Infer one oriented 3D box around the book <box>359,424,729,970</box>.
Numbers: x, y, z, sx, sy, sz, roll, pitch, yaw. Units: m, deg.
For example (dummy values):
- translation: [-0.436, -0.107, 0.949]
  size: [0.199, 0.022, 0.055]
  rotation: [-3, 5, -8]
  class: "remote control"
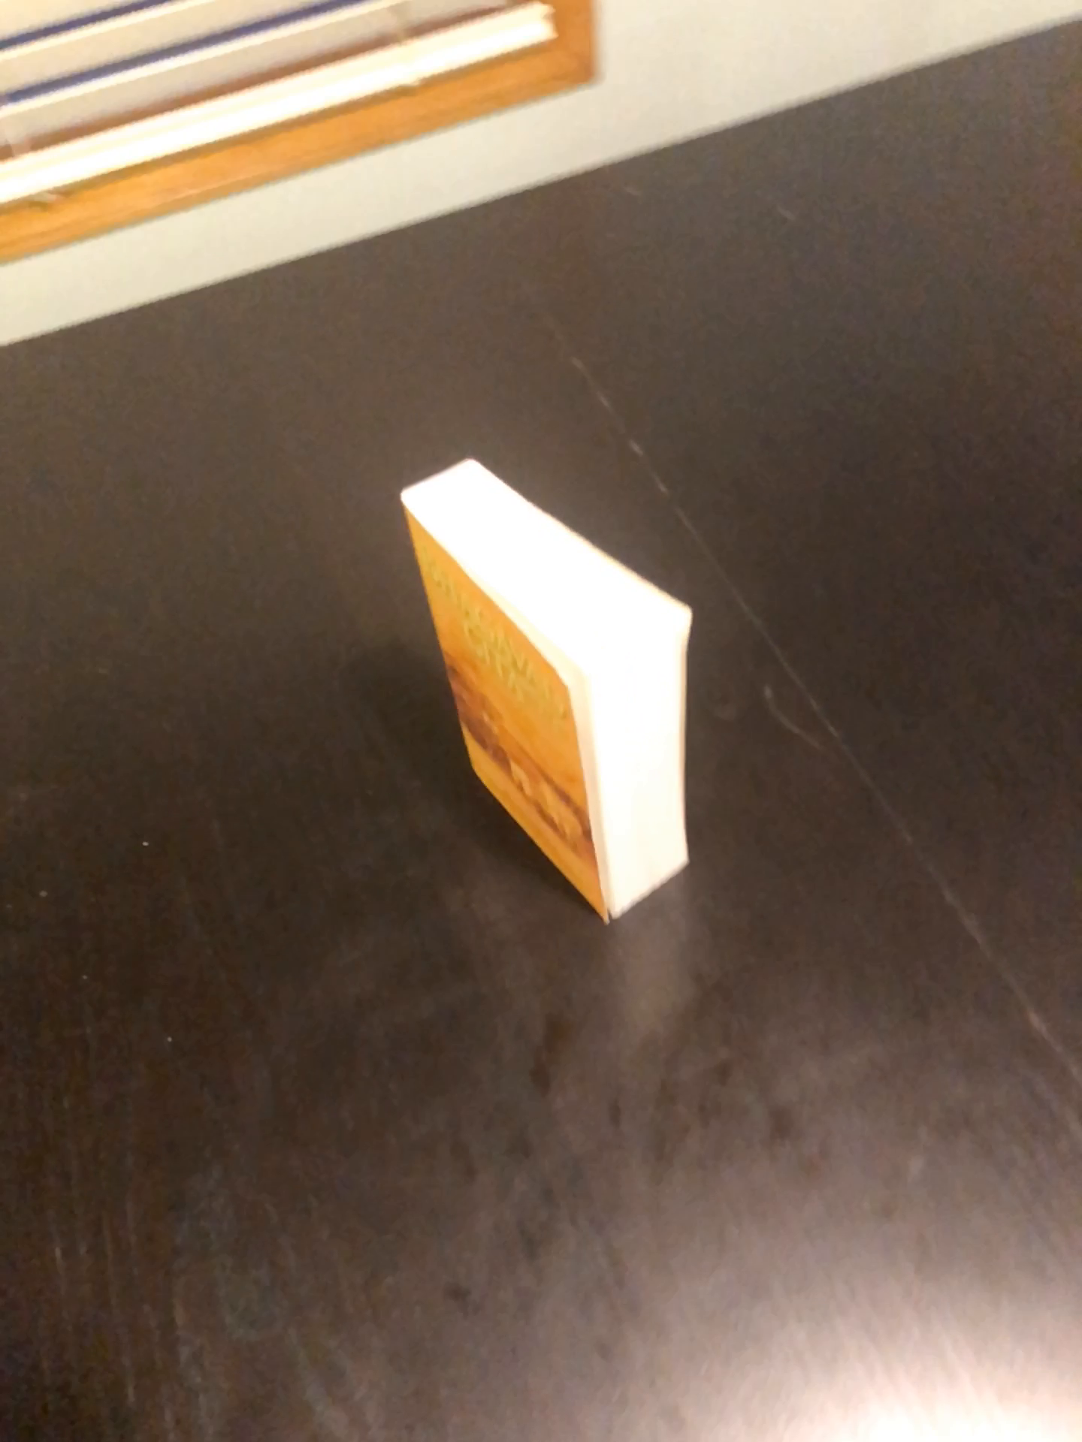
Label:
- translation: [0.006, -0.002, 0.461]
  size: [0.059, 0.174, 0.126]
  rotation: [-33, 58, -15]
  class: "book"
